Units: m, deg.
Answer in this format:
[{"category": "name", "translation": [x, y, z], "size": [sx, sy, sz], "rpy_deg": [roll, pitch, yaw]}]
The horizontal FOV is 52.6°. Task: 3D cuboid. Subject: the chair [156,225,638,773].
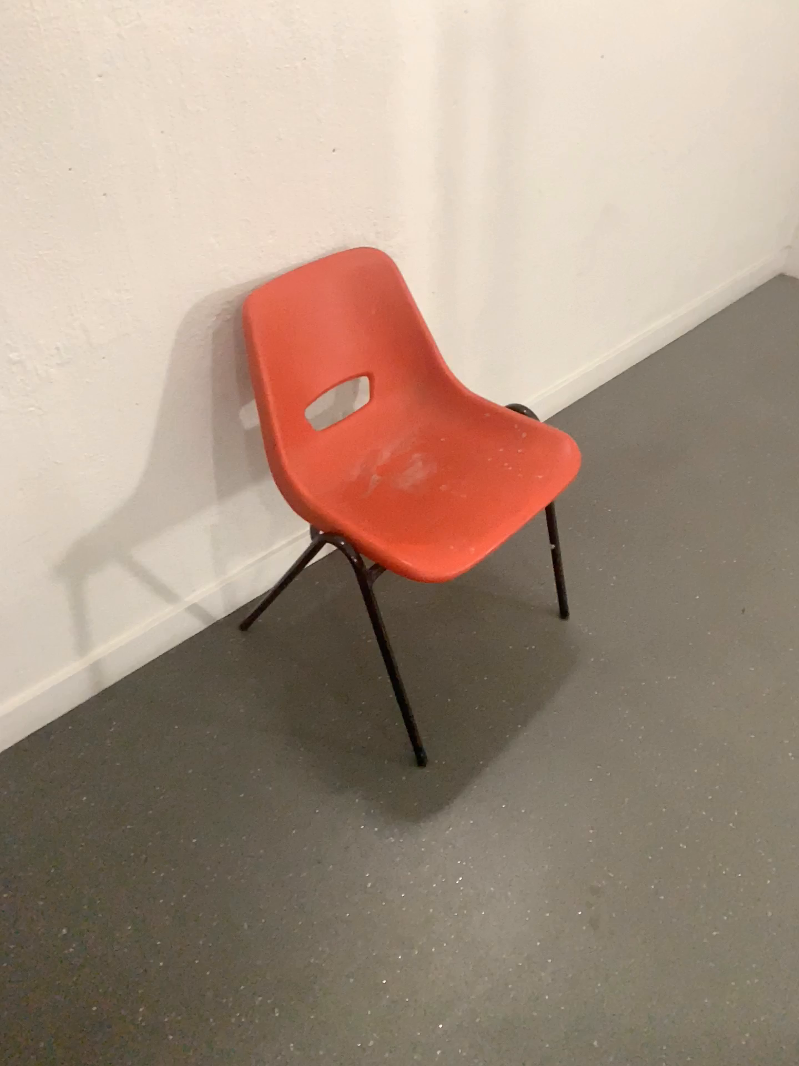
[{"category": "chair", "translation": [-0.002, -0.080, 1.552], "size": [0.593, 0.713, 0.513], "rpy_deg": [31, 52, 30]}]
